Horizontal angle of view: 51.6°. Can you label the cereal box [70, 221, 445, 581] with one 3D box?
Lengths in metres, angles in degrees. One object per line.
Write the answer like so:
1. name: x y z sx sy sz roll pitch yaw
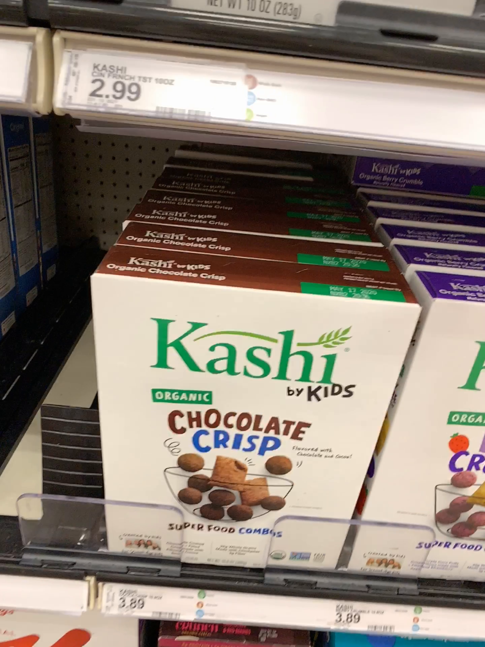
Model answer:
1. cereal box: -0.002 0.071 0.358 0.200 0.259 0.060 5 31 -2
